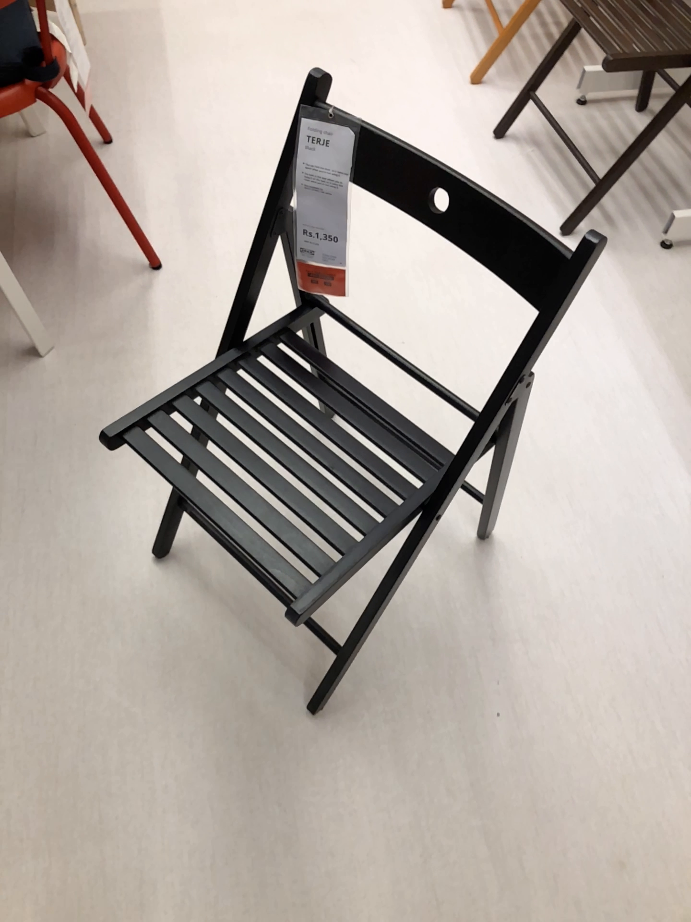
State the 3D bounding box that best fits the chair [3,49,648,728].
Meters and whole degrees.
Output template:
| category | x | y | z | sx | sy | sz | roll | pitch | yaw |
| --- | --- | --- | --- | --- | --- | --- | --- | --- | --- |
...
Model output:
| category | x | y | z | sx | sy | sz | roll | pitch | yaw |
| --- | --- | --- | --- | --- | --- | --- | --- | --- | --- |
| chair | -0.023 | -0.041 | 1.076 | 0.441 | 0.727 | 0.481 | 40 | 65 | 20 |
